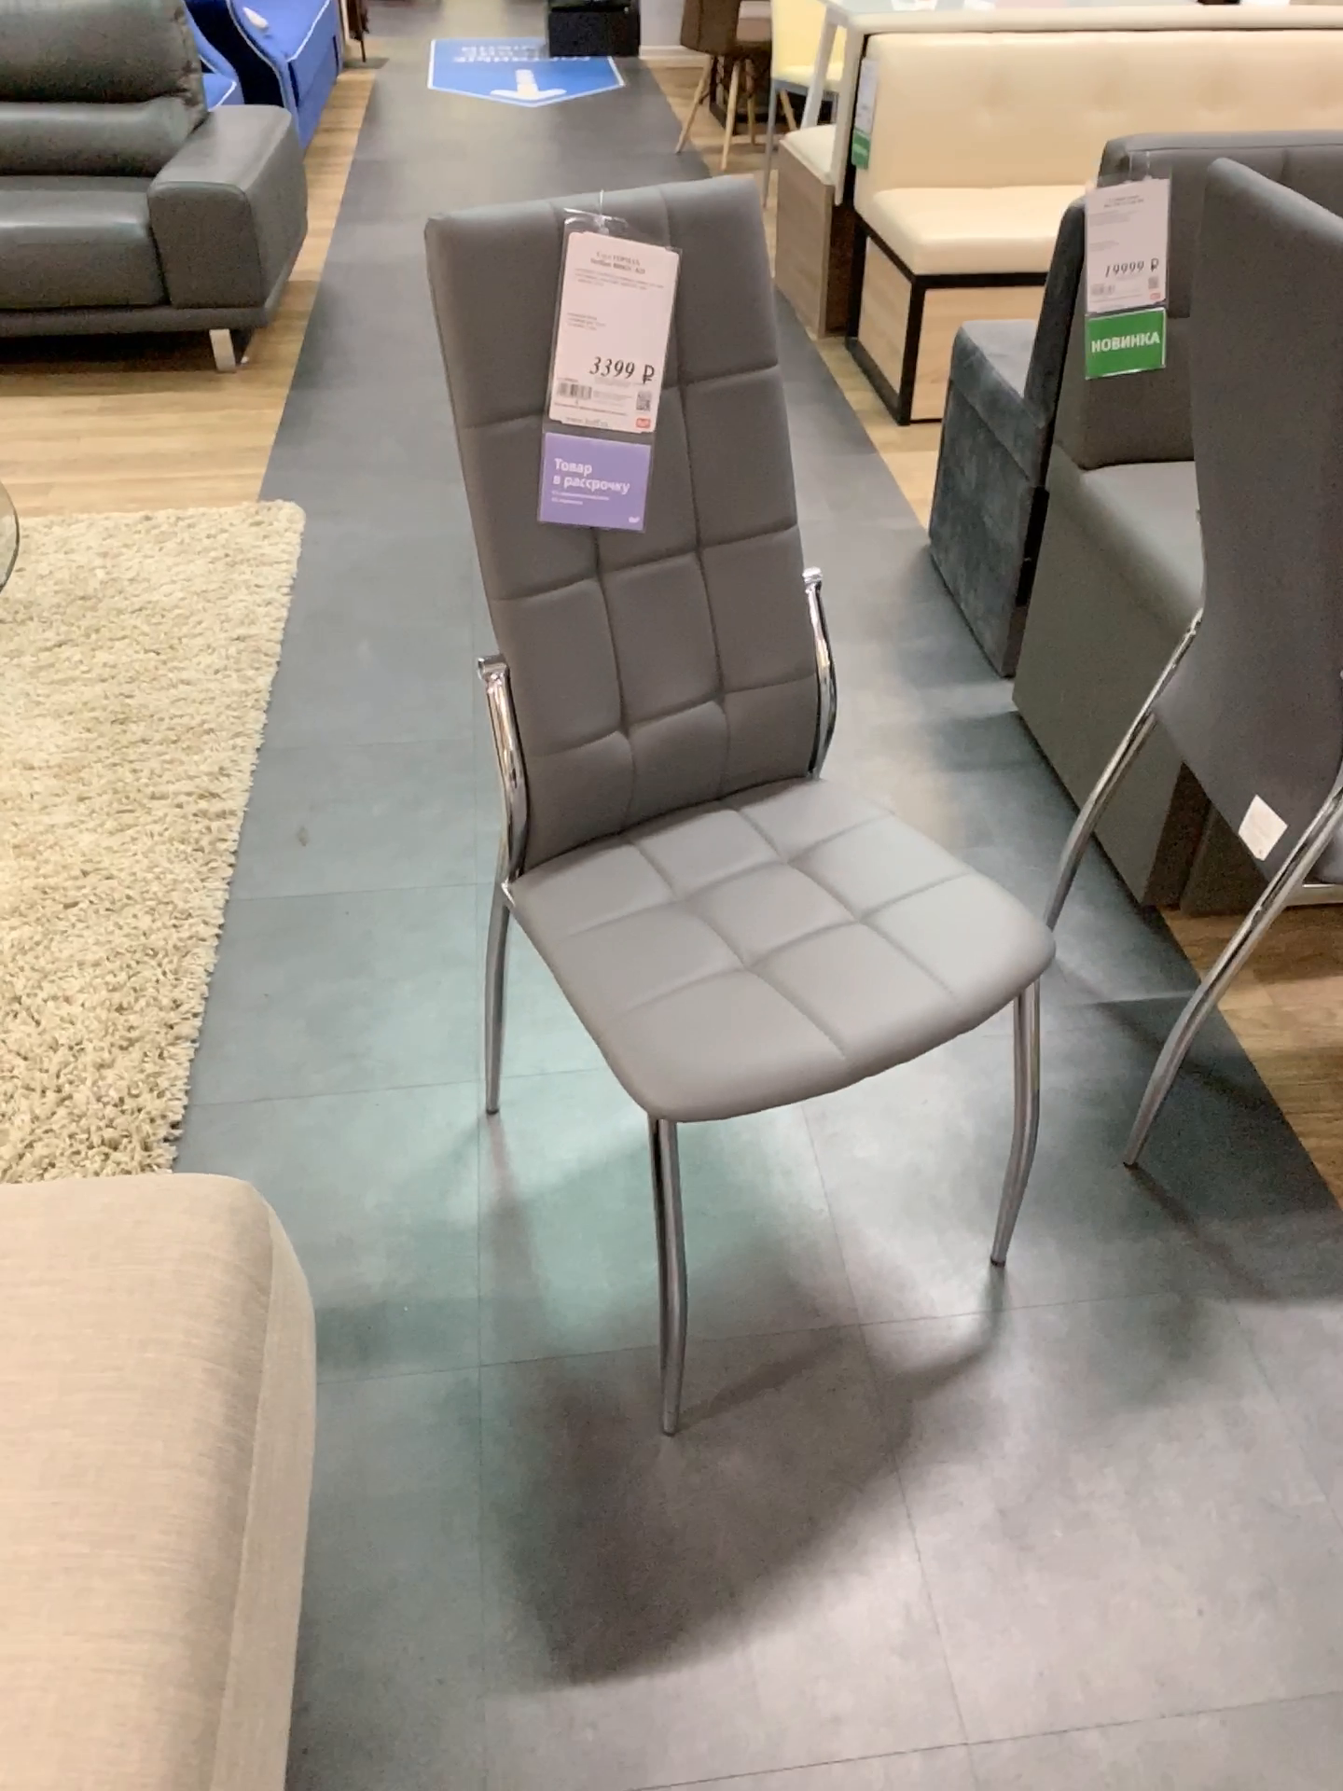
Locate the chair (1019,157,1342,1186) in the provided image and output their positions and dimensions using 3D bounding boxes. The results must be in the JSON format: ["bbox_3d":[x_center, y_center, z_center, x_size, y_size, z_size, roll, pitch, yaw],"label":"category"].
[{"bbox_3d":[0.799,-0.200,1.528,0.550,1.024,0.453,-2,39,-3],"label":"chair"}]

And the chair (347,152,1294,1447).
[{"bbox_3d":[0.073,-0.067,1.317,0.471,1.024,0.532,-19,43,-22],"label":"chair"}]
